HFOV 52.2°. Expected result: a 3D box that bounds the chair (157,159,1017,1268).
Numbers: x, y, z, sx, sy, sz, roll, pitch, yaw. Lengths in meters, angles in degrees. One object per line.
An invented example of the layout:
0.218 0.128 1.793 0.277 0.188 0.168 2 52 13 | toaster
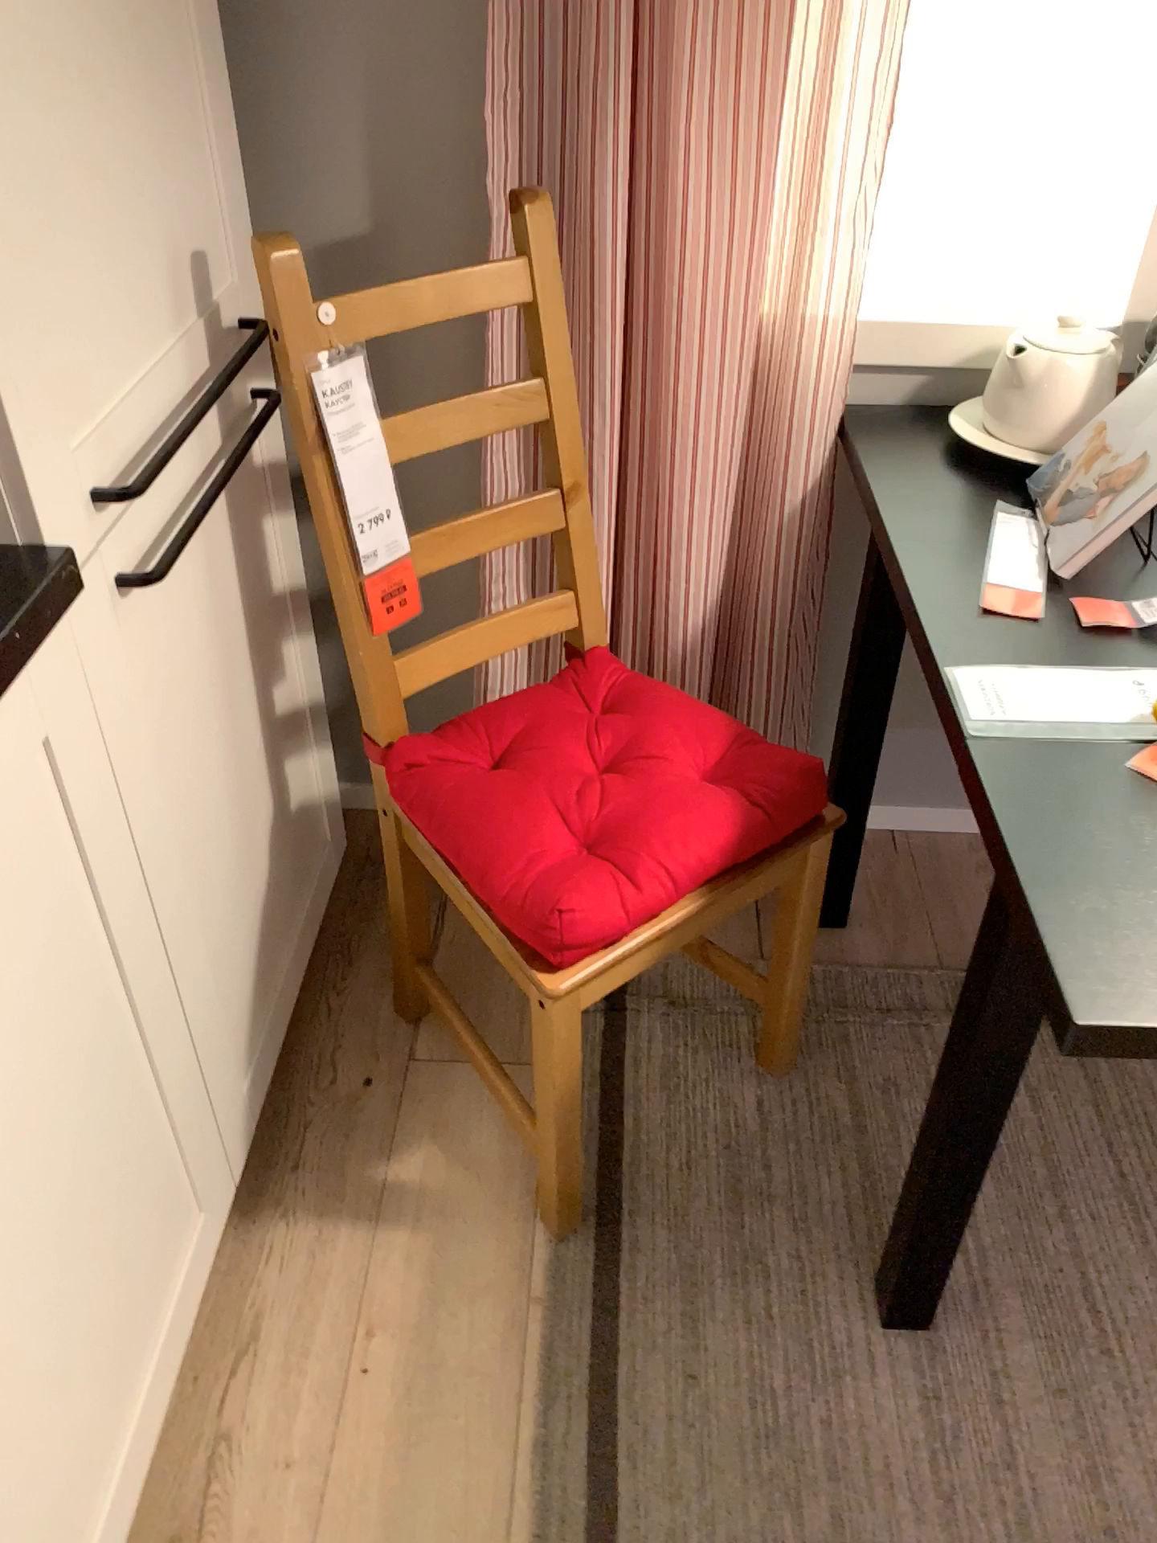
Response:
-0.013 -0.060 1.358 0.502 1.014 0.582 -28 47 -32 | chair
